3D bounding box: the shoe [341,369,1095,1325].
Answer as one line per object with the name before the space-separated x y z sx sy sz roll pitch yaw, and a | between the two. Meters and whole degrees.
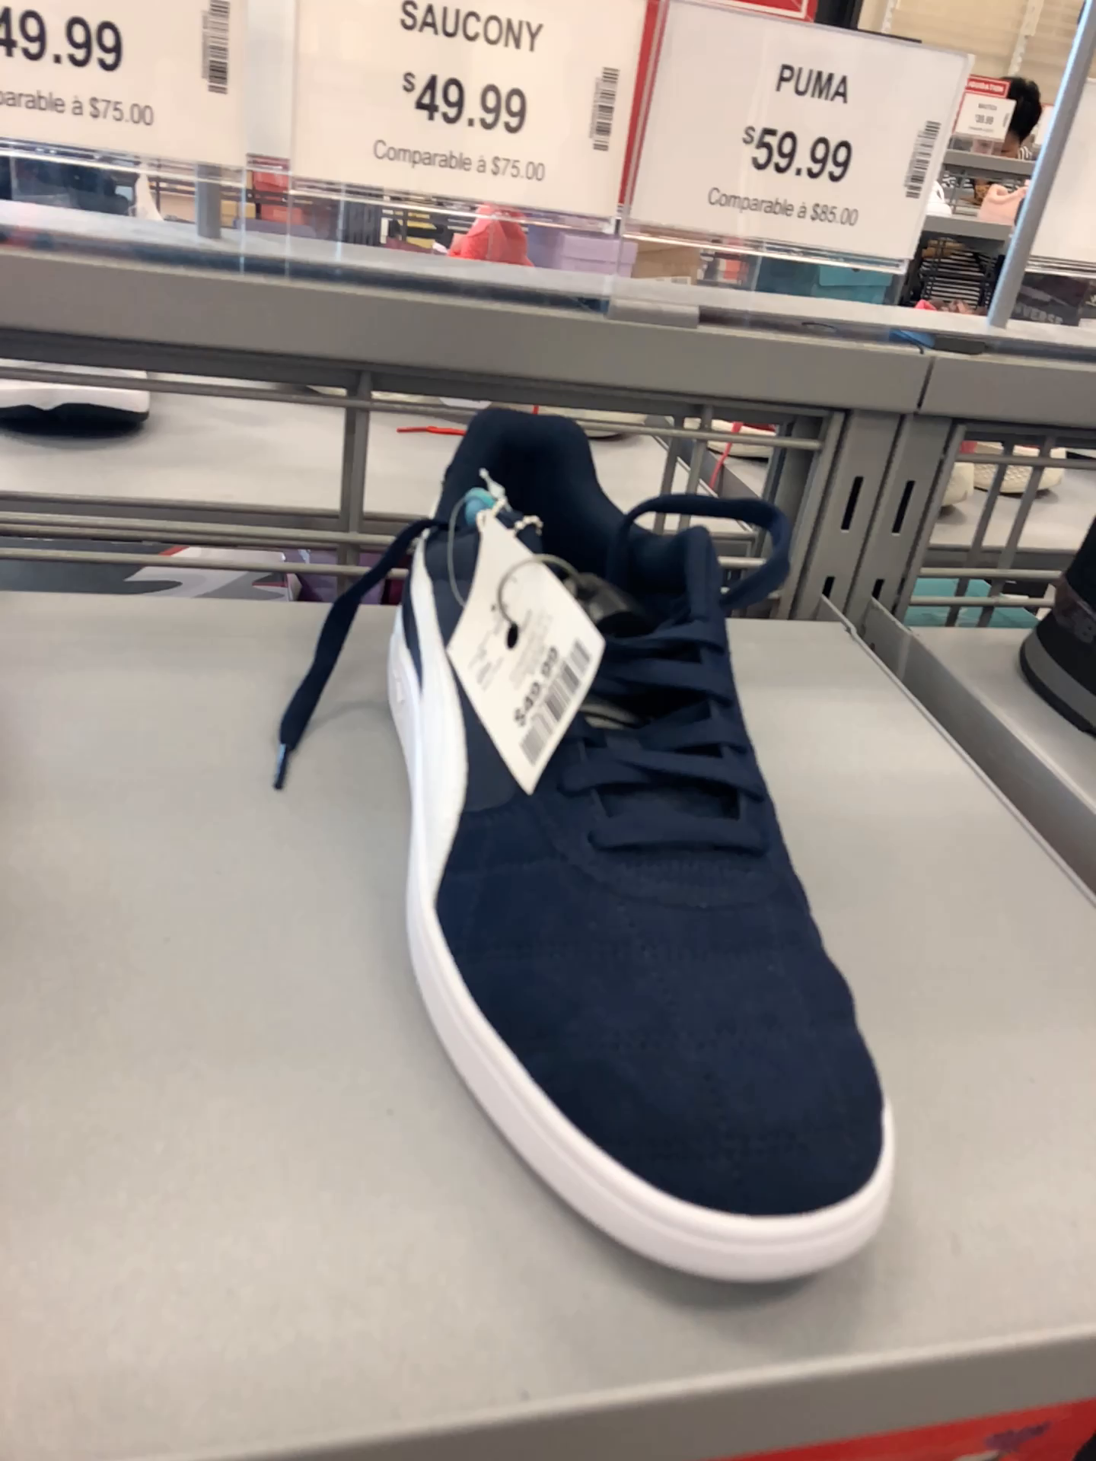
shoe | 0.022 0.001 0.318 0.119 0.119 0.242 0 31 -17
